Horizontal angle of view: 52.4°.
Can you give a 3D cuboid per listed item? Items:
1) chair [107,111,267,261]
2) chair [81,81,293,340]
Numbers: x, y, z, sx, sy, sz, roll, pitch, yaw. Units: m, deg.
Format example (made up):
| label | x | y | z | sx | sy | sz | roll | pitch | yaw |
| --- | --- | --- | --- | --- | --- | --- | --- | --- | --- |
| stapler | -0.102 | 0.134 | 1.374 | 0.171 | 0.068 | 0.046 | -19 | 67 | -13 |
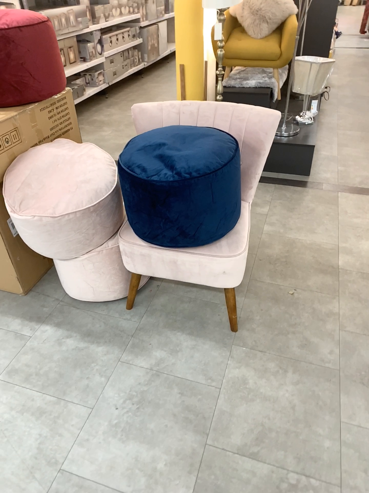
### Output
| label | x | y | z | sx | sy | sz | roll | pitch | yaw |
| --- | --- | --- | --- | --- | --- | --- | --- | --- | --- |
| chair | 0.042 | -0.278 | 1.542 | 0.475 | 0.363 | 0.508 | 10 | 38 | 17 |
| chair | 0.080 | -0.208 | 1.729 | 0.655 | 0.848 | 0.750 | 9 | 37 | 14 |
